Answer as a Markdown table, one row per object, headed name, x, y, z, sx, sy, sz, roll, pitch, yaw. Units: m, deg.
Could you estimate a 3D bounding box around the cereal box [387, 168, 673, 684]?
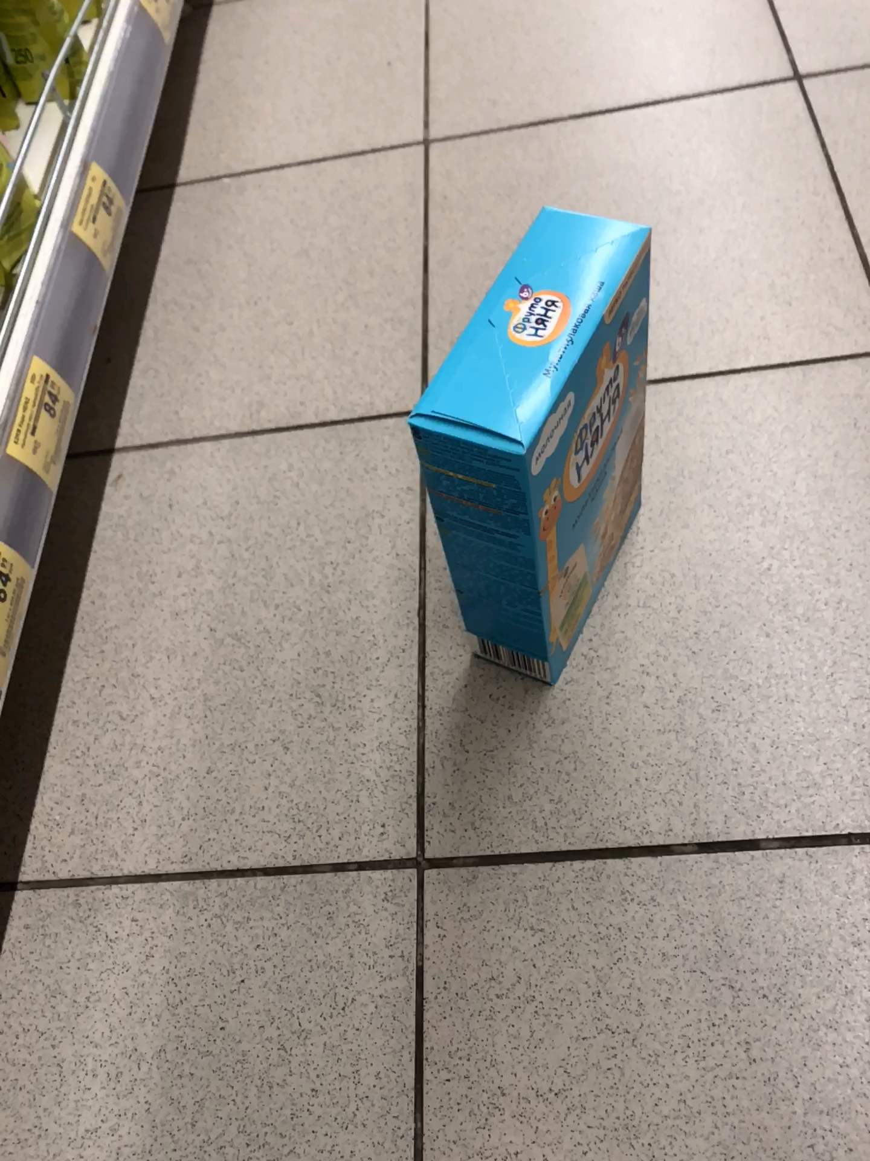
| name | x | y | z | sx | sy | sz | roll | pitch | yaw |
| --- | --- | --- | --- | --- | --- | --- | --- | --- | --- |
| cereal box | 0.055 | -0.062 | 0.461 | 0.060 | 0.199 | 0.140 | 20 | 64 | 21 |
